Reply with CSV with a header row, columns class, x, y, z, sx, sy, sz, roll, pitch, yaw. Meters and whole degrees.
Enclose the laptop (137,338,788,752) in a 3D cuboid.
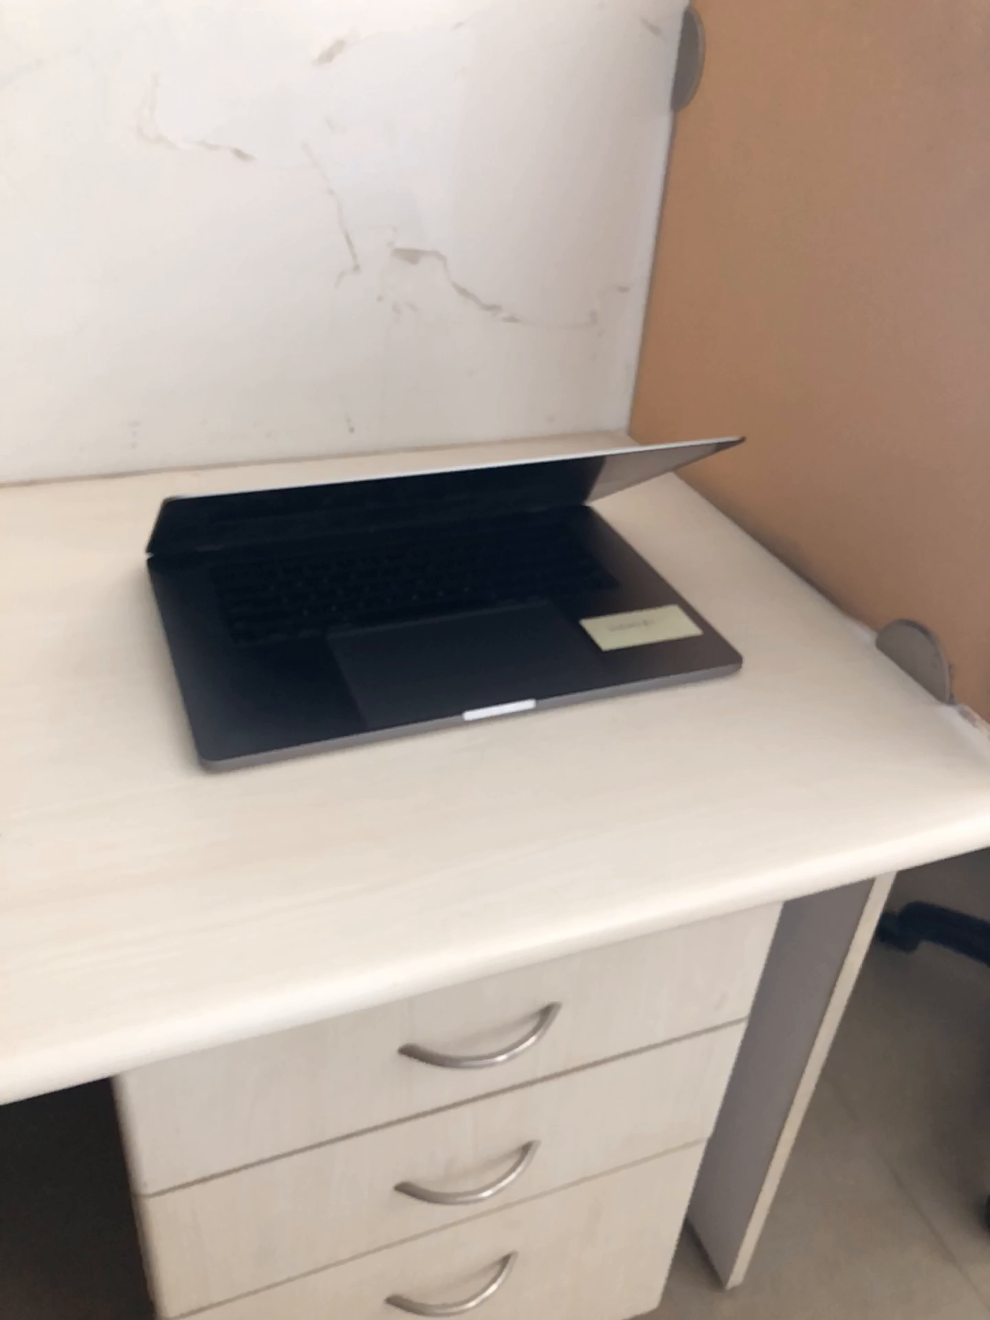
class,x,y,z,sx,sy,sz,roll,pitch,yaw
laptop,-0.035,-0.093,0.686,0.330,0.133,0.234,-9,34,-20
